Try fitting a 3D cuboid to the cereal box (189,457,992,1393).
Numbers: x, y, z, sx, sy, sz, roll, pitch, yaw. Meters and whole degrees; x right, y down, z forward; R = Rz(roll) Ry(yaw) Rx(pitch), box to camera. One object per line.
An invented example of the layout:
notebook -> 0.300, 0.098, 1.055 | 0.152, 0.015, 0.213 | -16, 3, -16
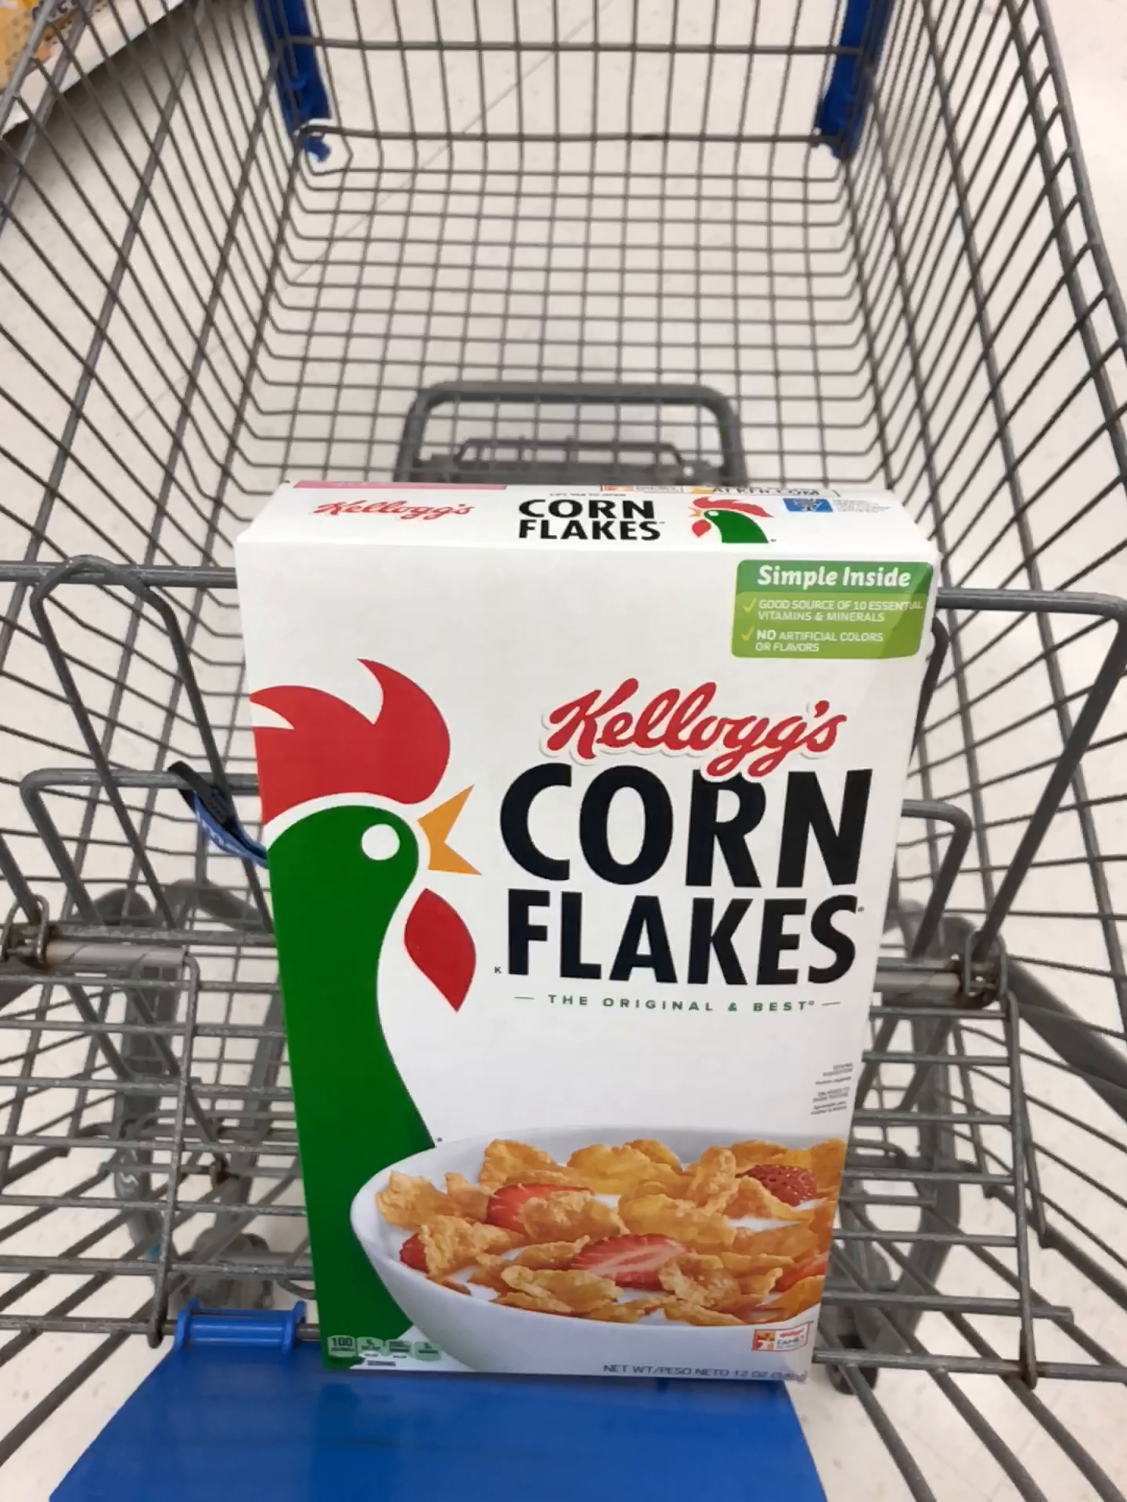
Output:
cereal box -> 0.006, 0.077, 0.436 | 0.210, 0.340, 0.070 | 1, 27, 1
